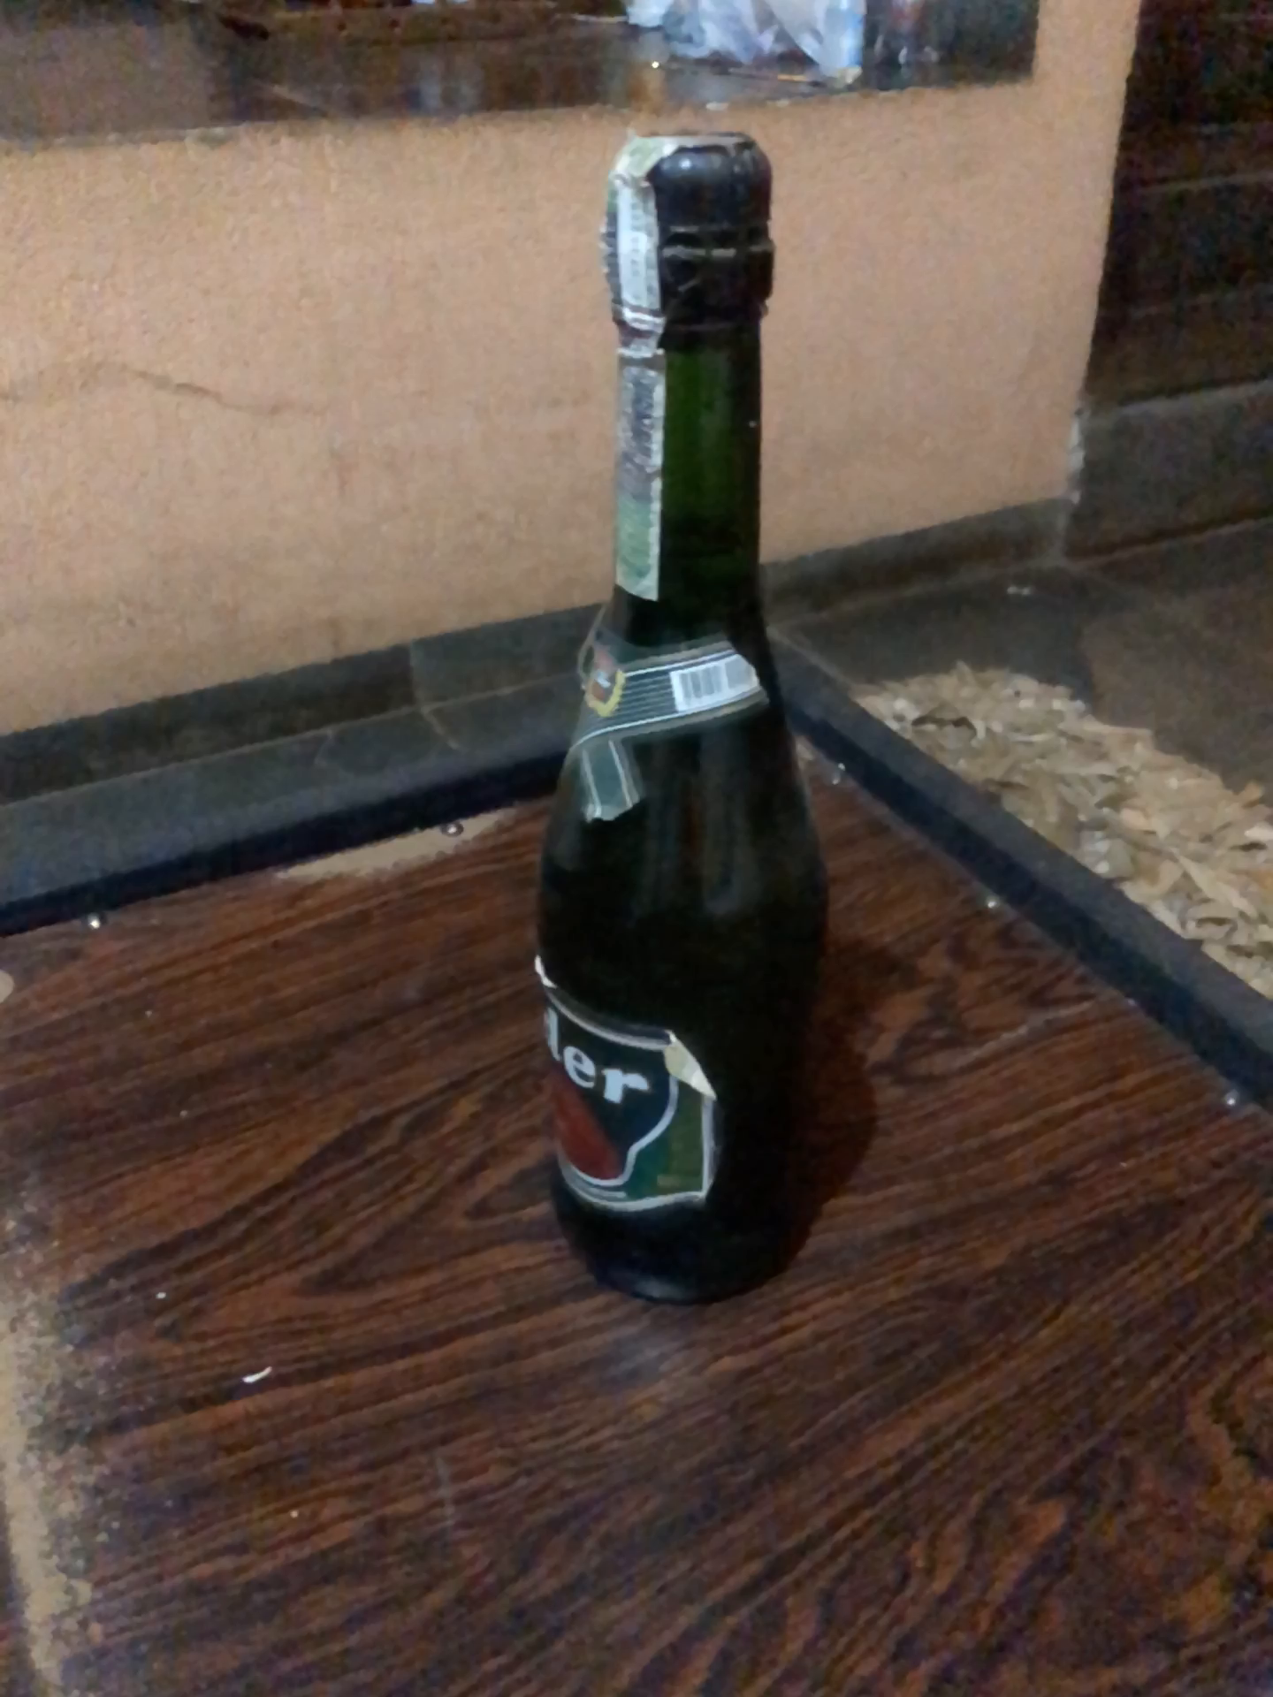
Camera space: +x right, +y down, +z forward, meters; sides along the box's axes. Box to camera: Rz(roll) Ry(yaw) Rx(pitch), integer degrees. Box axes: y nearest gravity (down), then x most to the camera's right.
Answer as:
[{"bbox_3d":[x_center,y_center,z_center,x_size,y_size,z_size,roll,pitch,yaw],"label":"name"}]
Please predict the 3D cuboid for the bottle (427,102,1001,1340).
[{"bbox_3d":[0.012,-0.018,0.352,0.080,0.288,0.091,-14,35,-19],"label":"bottle"}]
